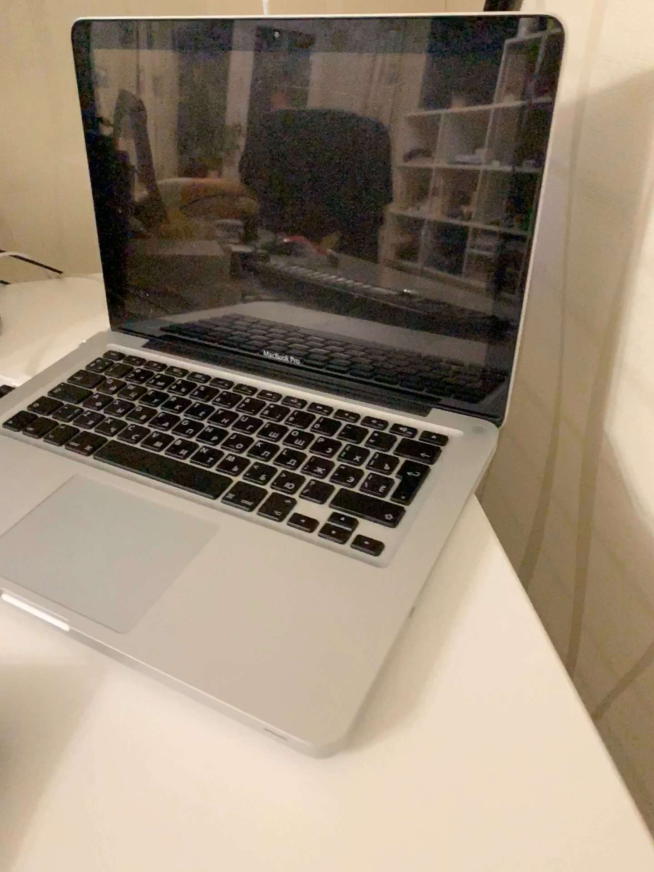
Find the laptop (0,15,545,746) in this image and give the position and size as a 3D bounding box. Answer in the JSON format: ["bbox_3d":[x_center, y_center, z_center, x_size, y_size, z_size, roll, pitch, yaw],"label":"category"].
[{"bbox_3d":[-0.087,-0.073,0.335,0.301,0.196,0.250,15,41,24],"label":"laptop"}]
